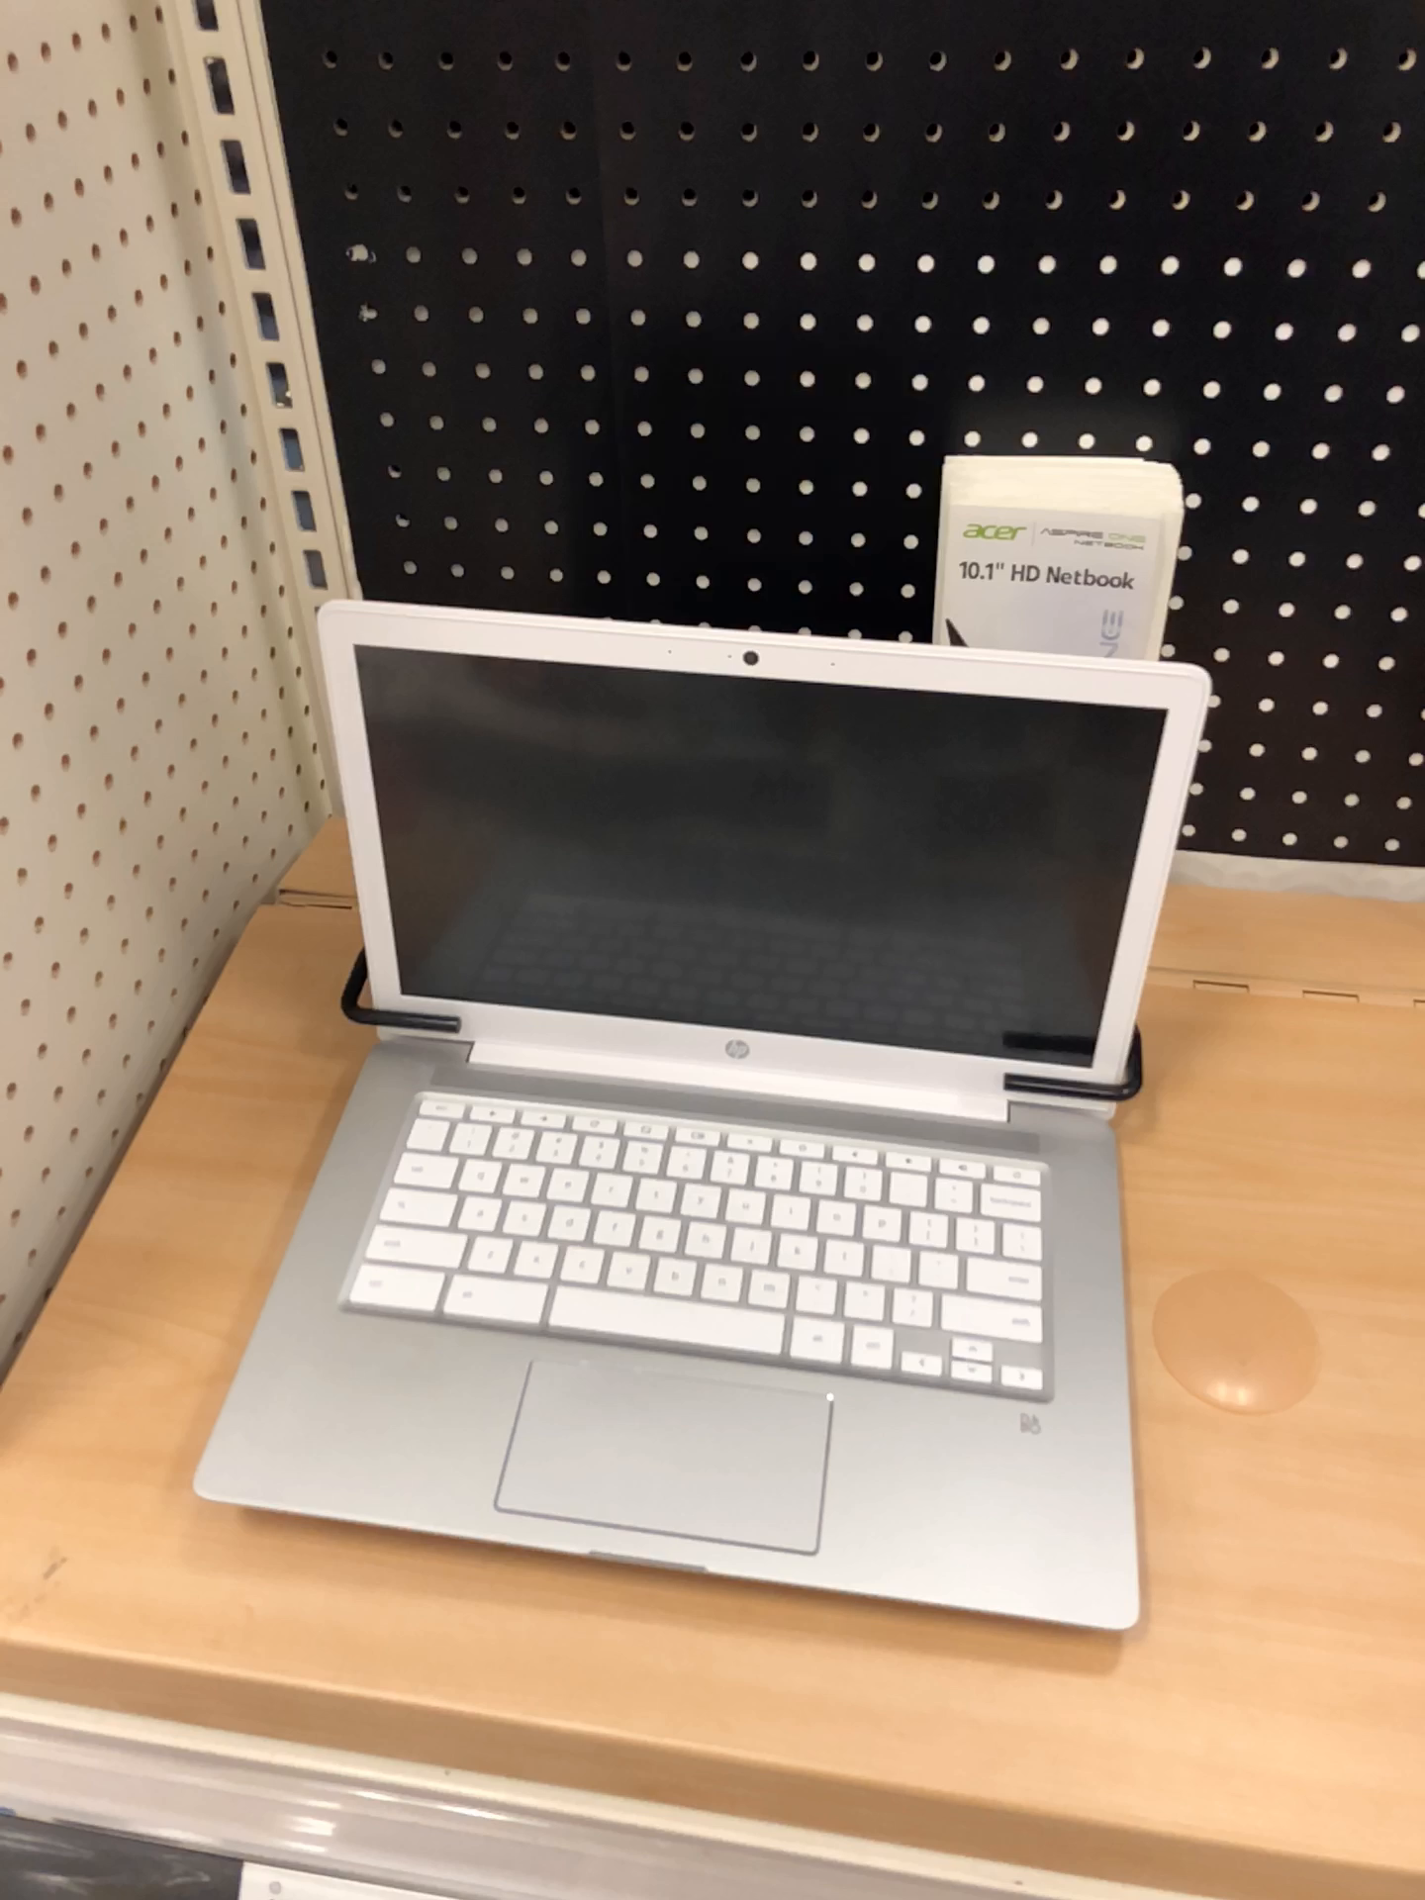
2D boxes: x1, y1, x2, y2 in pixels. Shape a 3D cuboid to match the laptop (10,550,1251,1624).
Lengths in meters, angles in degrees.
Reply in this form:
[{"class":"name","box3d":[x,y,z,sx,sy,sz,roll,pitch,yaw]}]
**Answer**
[{"class":"laptop","box3d":[-0.006,0.032,0.570,0.333,0.198,0.281,4,43,6]}]
